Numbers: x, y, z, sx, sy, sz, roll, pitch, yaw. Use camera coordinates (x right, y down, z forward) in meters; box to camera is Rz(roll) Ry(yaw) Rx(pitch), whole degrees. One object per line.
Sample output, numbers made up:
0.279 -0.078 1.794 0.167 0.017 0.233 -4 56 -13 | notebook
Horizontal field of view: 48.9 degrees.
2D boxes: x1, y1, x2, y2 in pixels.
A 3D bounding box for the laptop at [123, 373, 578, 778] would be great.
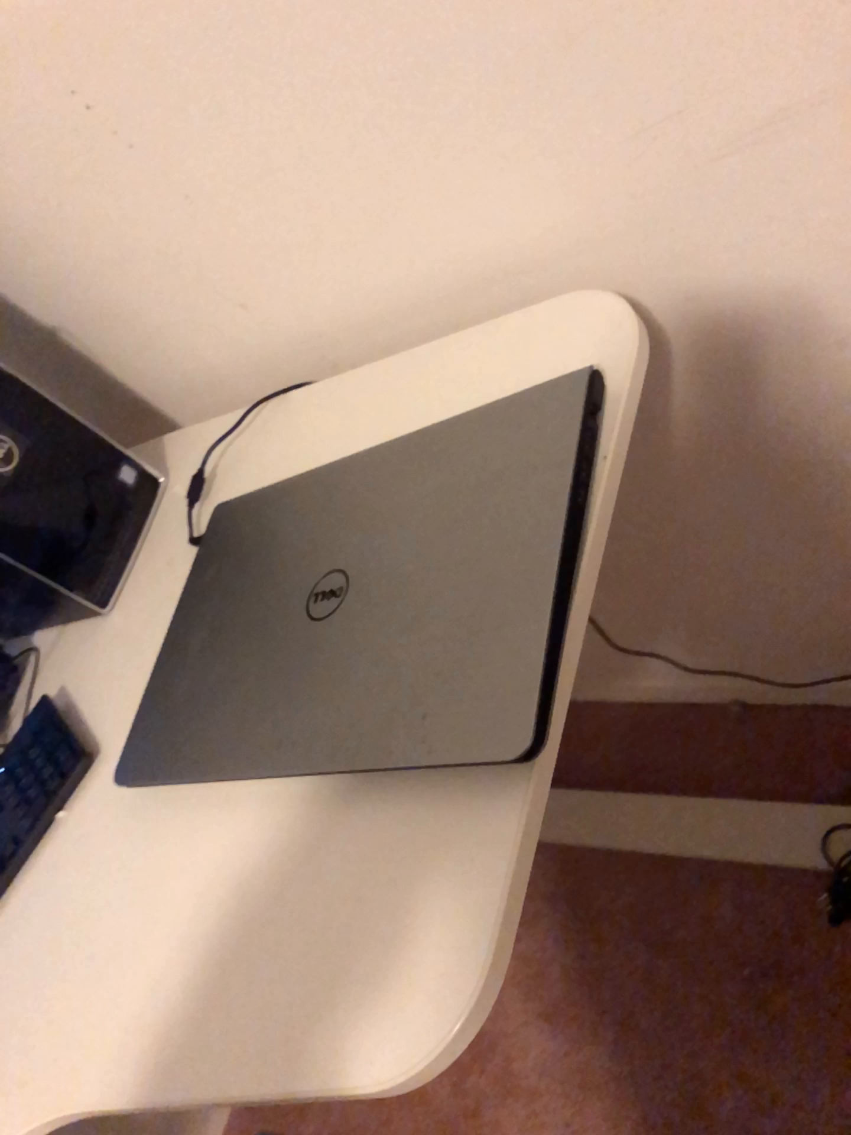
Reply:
-0.066 0.019 0.637 0.373 0.001 0.247 -14 52 41 | laptop
